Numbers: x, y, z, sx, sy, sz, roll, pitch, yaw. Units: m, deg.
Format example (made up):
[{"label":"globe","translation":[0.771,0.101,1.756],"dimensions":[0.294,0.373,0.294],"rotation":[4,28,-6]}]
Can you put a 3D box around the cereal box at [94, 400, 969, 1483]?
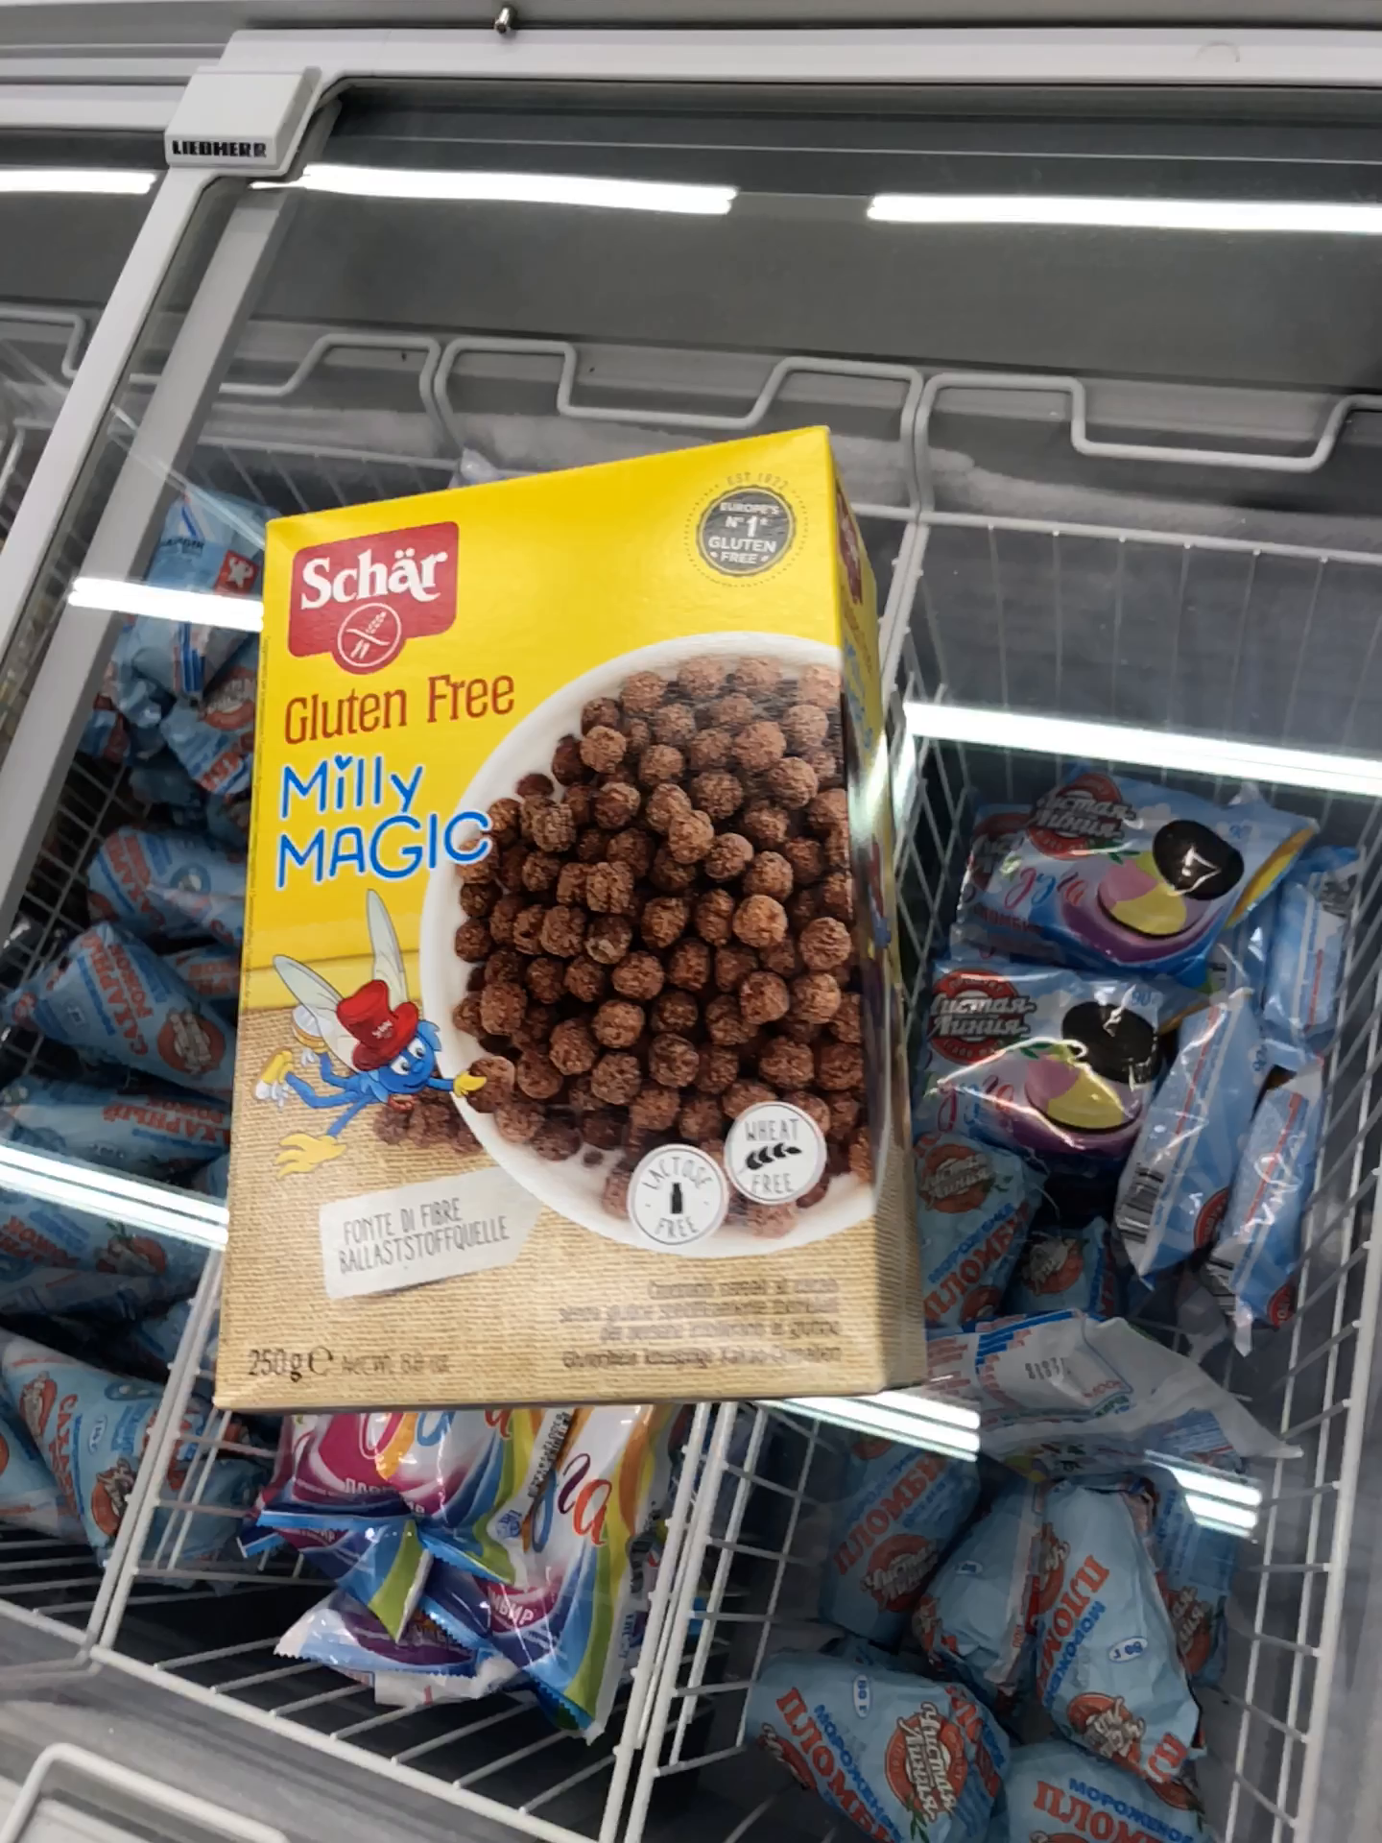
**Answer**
[{"label":"cereal box","translation":[-0.034,0.010,0.355],"dimensions":[0.170,0.070,0.220],"rotation":[-7,72,14]}]
